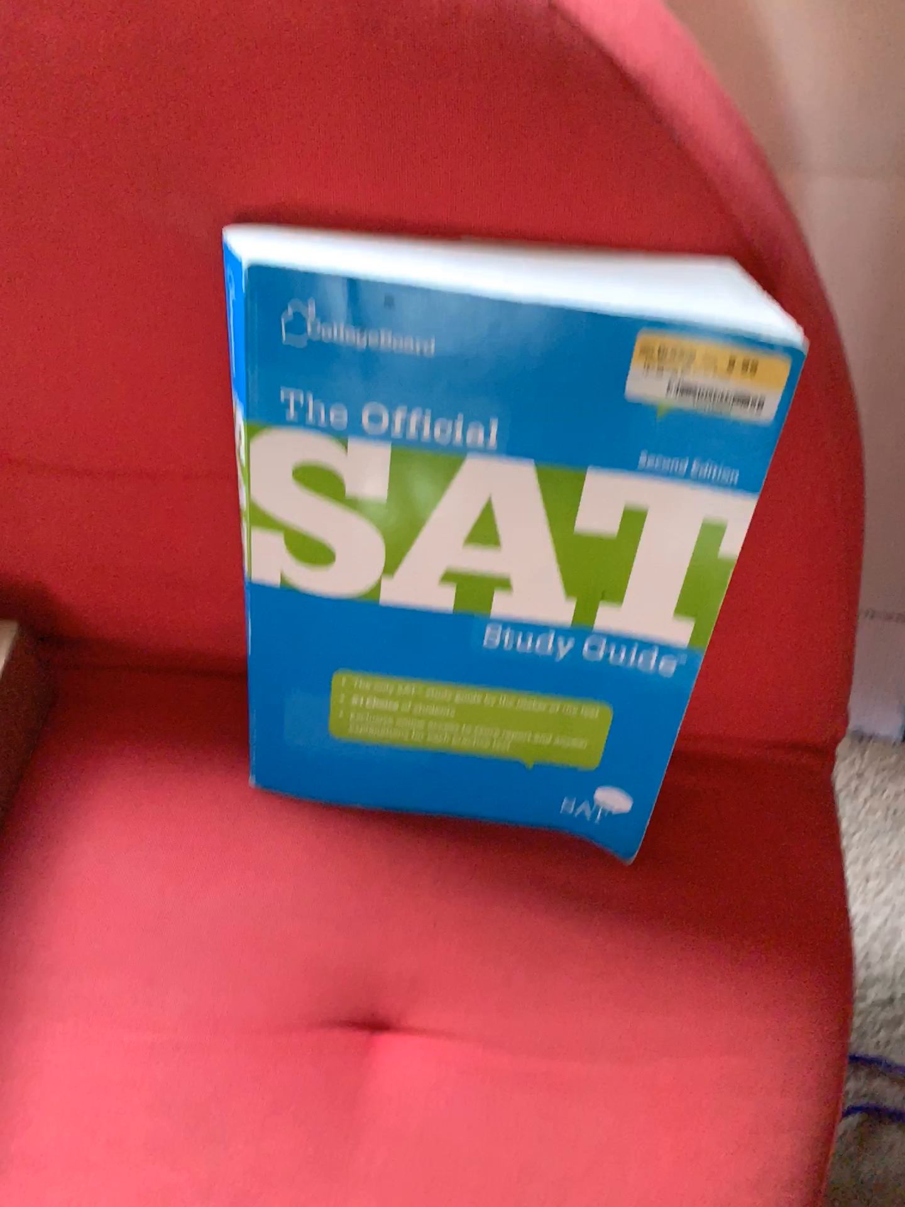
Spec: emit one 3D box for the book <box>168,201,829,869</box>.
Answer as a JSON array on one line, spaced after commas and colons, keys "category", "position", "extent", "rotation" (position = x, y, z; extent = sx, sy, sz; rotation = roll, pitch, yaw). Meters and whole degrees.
[{"category": "book", "position": [0.006, -0.024, 0.418], "extent": [0.230, 0.259, 0.080], "rotation": [8, 29, 4]}]
